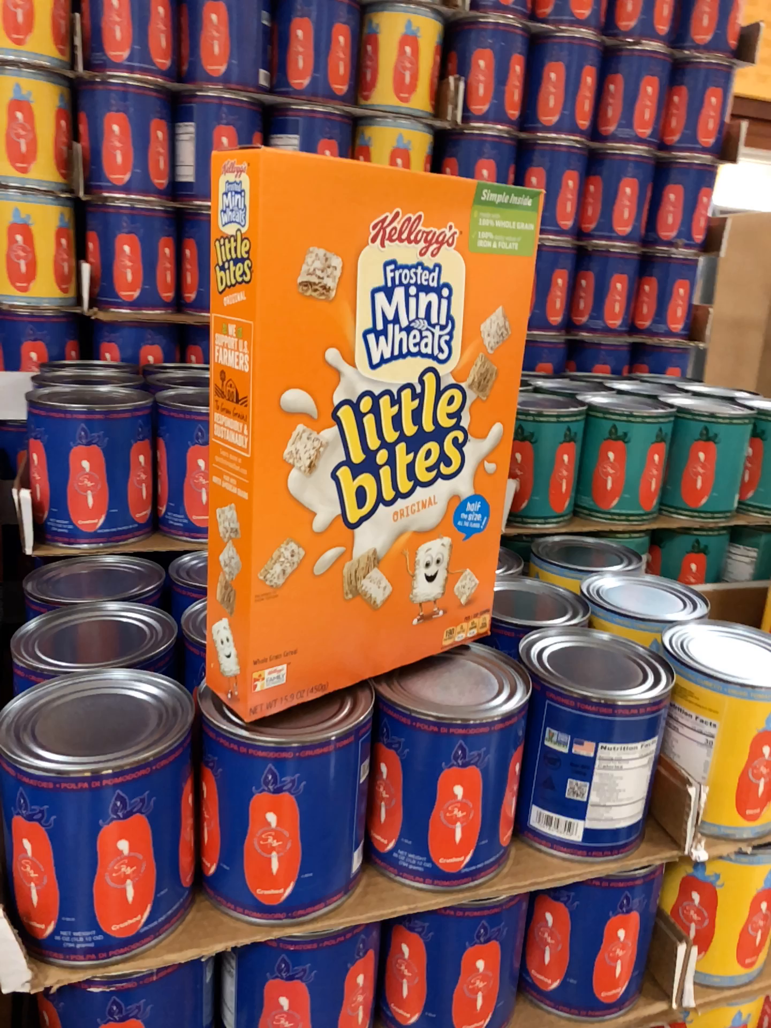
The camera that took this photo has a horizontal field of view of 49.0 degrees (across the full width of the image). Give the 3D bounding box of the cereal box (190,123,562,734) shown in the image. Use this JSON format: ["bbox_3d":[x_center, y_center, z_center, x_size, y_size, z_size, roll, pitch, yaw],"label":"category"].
[{"bbox_3d":[-0.004,-0.048,0.480,0.201,0.288,0.060,-10,22,-41],"label":"cereal box"}]
